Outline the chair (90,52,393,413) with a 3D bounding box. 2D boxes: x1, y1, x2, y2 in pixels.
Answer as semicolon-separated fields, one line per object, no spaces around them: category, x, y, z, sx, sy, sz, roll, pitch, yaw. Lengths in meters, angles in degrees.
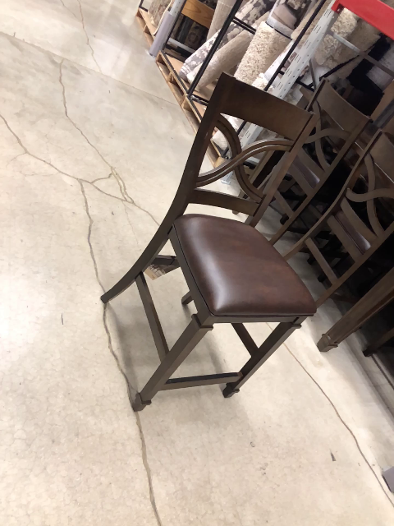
chair;0.101;-0.043;1.570;0.492;1.026;0.650;5;44;-38
